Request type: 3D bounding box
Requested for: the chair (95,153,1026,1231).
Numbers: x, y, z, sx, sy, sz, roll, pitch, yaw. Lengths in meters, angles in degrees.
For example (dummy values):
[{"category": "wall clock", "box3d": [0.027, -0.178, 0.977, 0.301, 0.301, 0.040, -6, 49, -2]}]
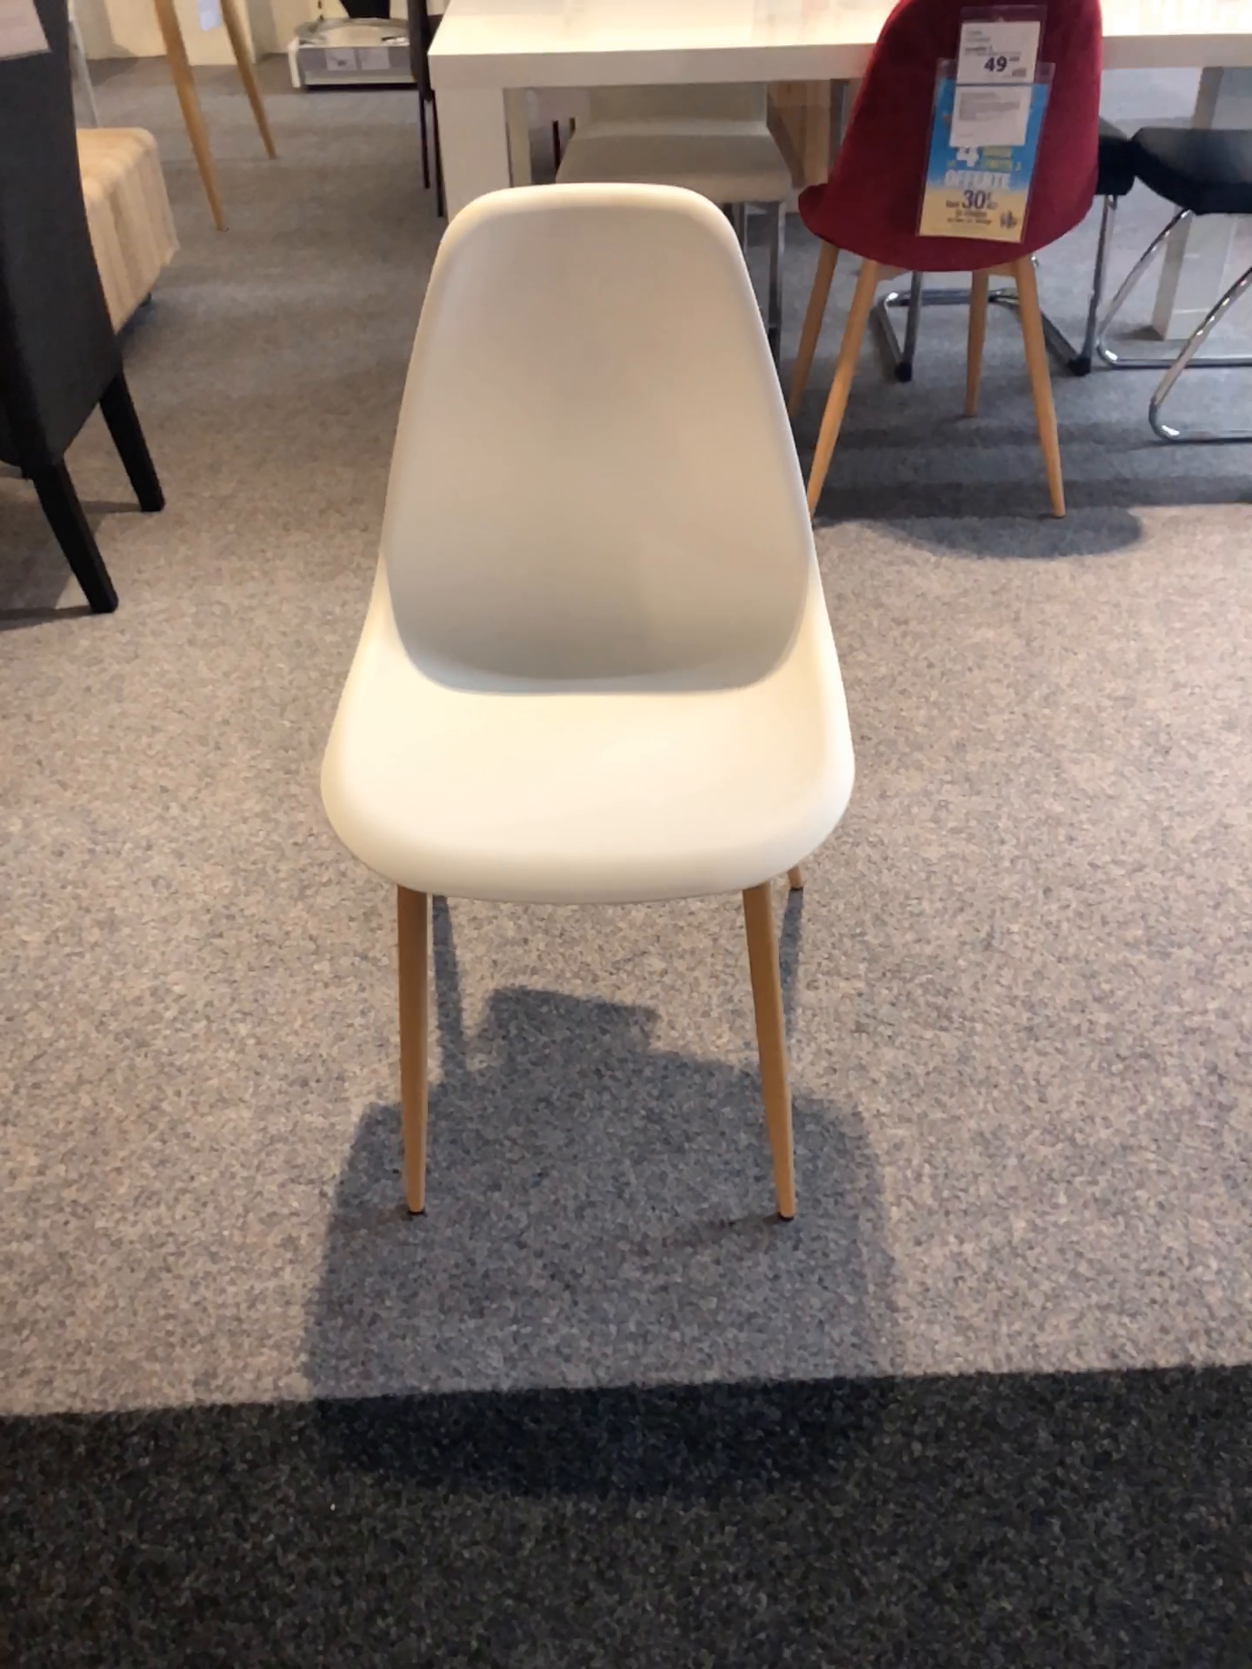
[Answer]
[{"category": "chair", "box3d": [-0.024, -0.126, 1.336, 0.570, 0.845, 0.604, 0, 39, 2]}]
